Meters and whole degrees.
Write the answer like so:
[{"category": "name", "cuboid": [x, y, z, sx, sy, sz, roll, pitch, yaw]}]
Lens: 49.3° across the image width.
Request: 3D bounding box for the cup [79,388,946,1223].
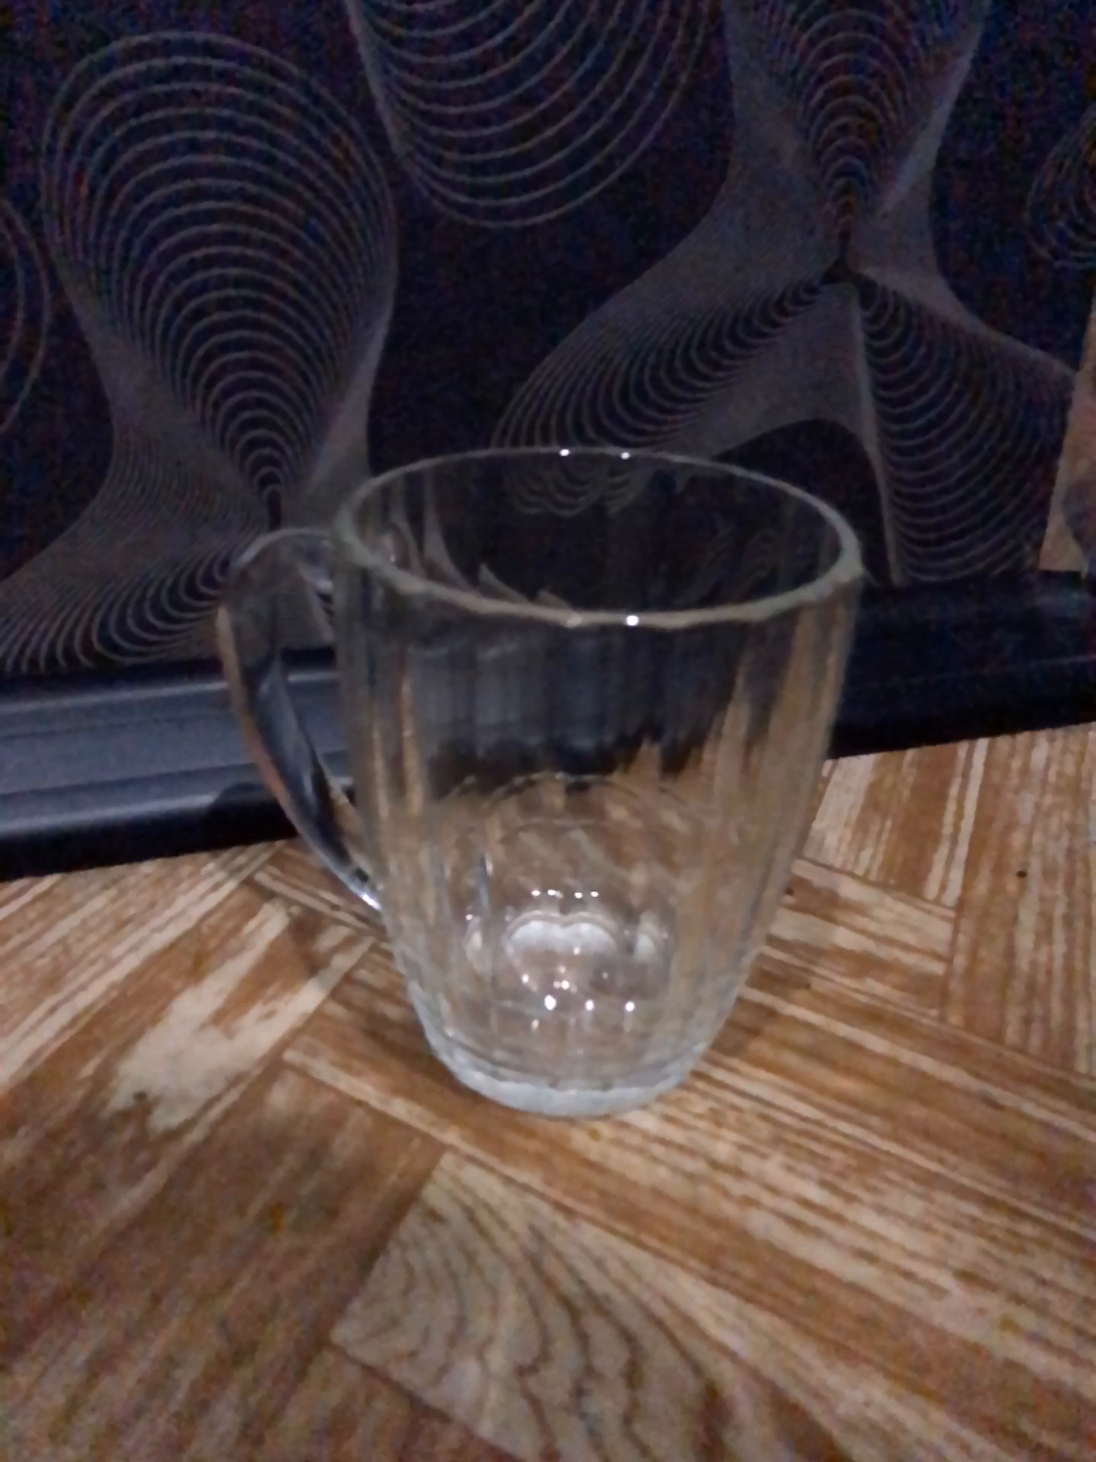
[{"category": "cup", "cuboid": [-0.002, -0.001, 0.254, 0.126, 0.107, 0.114, 16, 31, 26]}]
